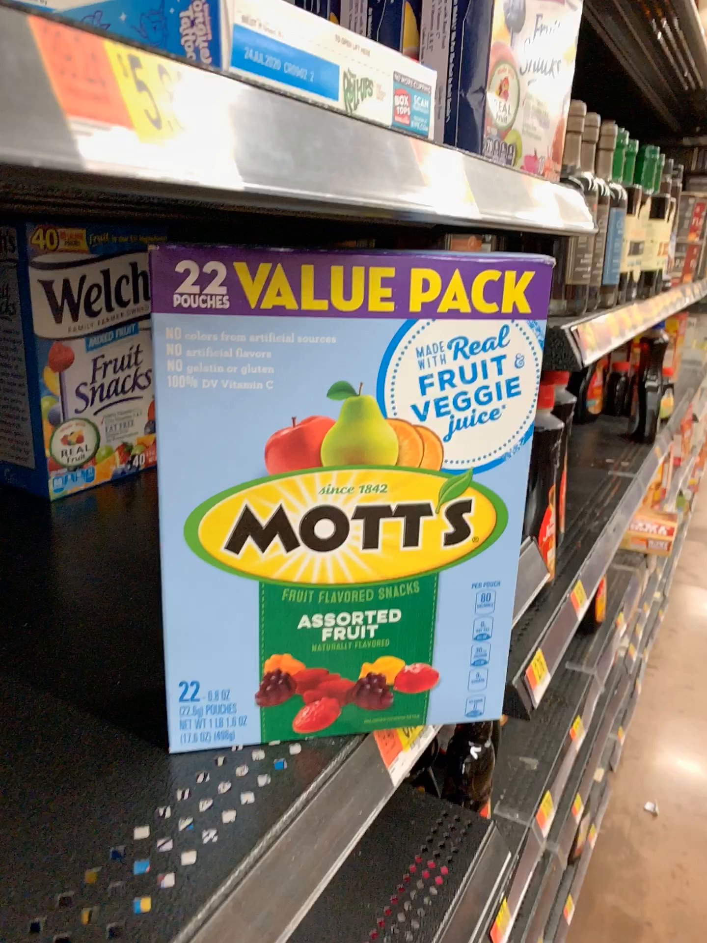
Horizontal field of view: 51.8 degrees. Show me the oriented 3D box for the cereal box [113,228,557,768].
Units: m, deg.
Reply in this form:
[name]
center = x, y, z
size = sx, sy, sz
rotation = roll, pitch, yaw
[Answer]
[cereal box]
center = -0.013, 0.013, 0.352
size = 0.180, 0.239, 0.060
rotation = -1, 18, -13
